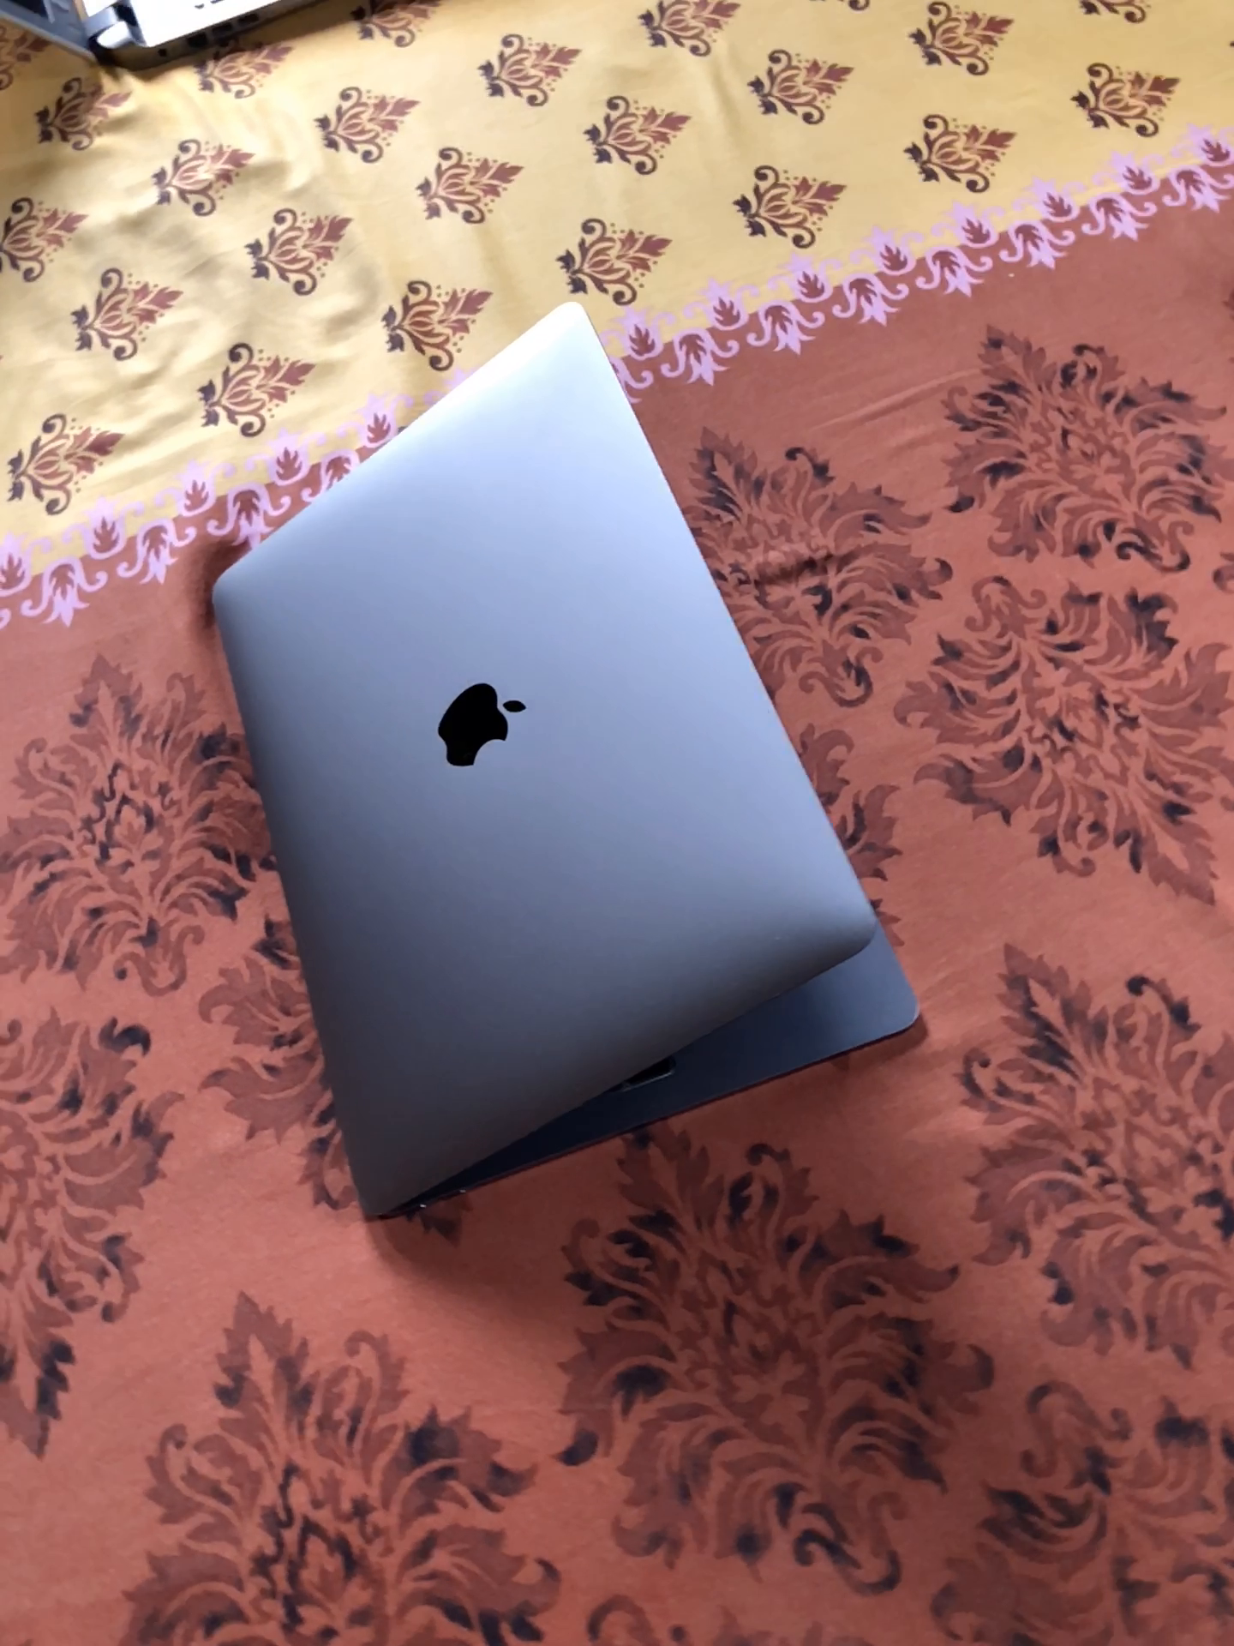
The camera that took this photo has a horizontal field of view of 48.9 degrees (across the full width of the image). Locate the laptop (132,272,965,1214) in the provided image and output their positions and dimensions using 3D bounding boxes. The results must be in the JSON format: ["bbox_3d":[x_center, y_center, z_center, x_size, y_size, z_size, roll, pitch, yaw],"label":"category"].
[{"bbox_3d":[-0.038,-0.039,0.496,0.204,0.093,0.286,-20,63,-3],"label":"laptop"}]
